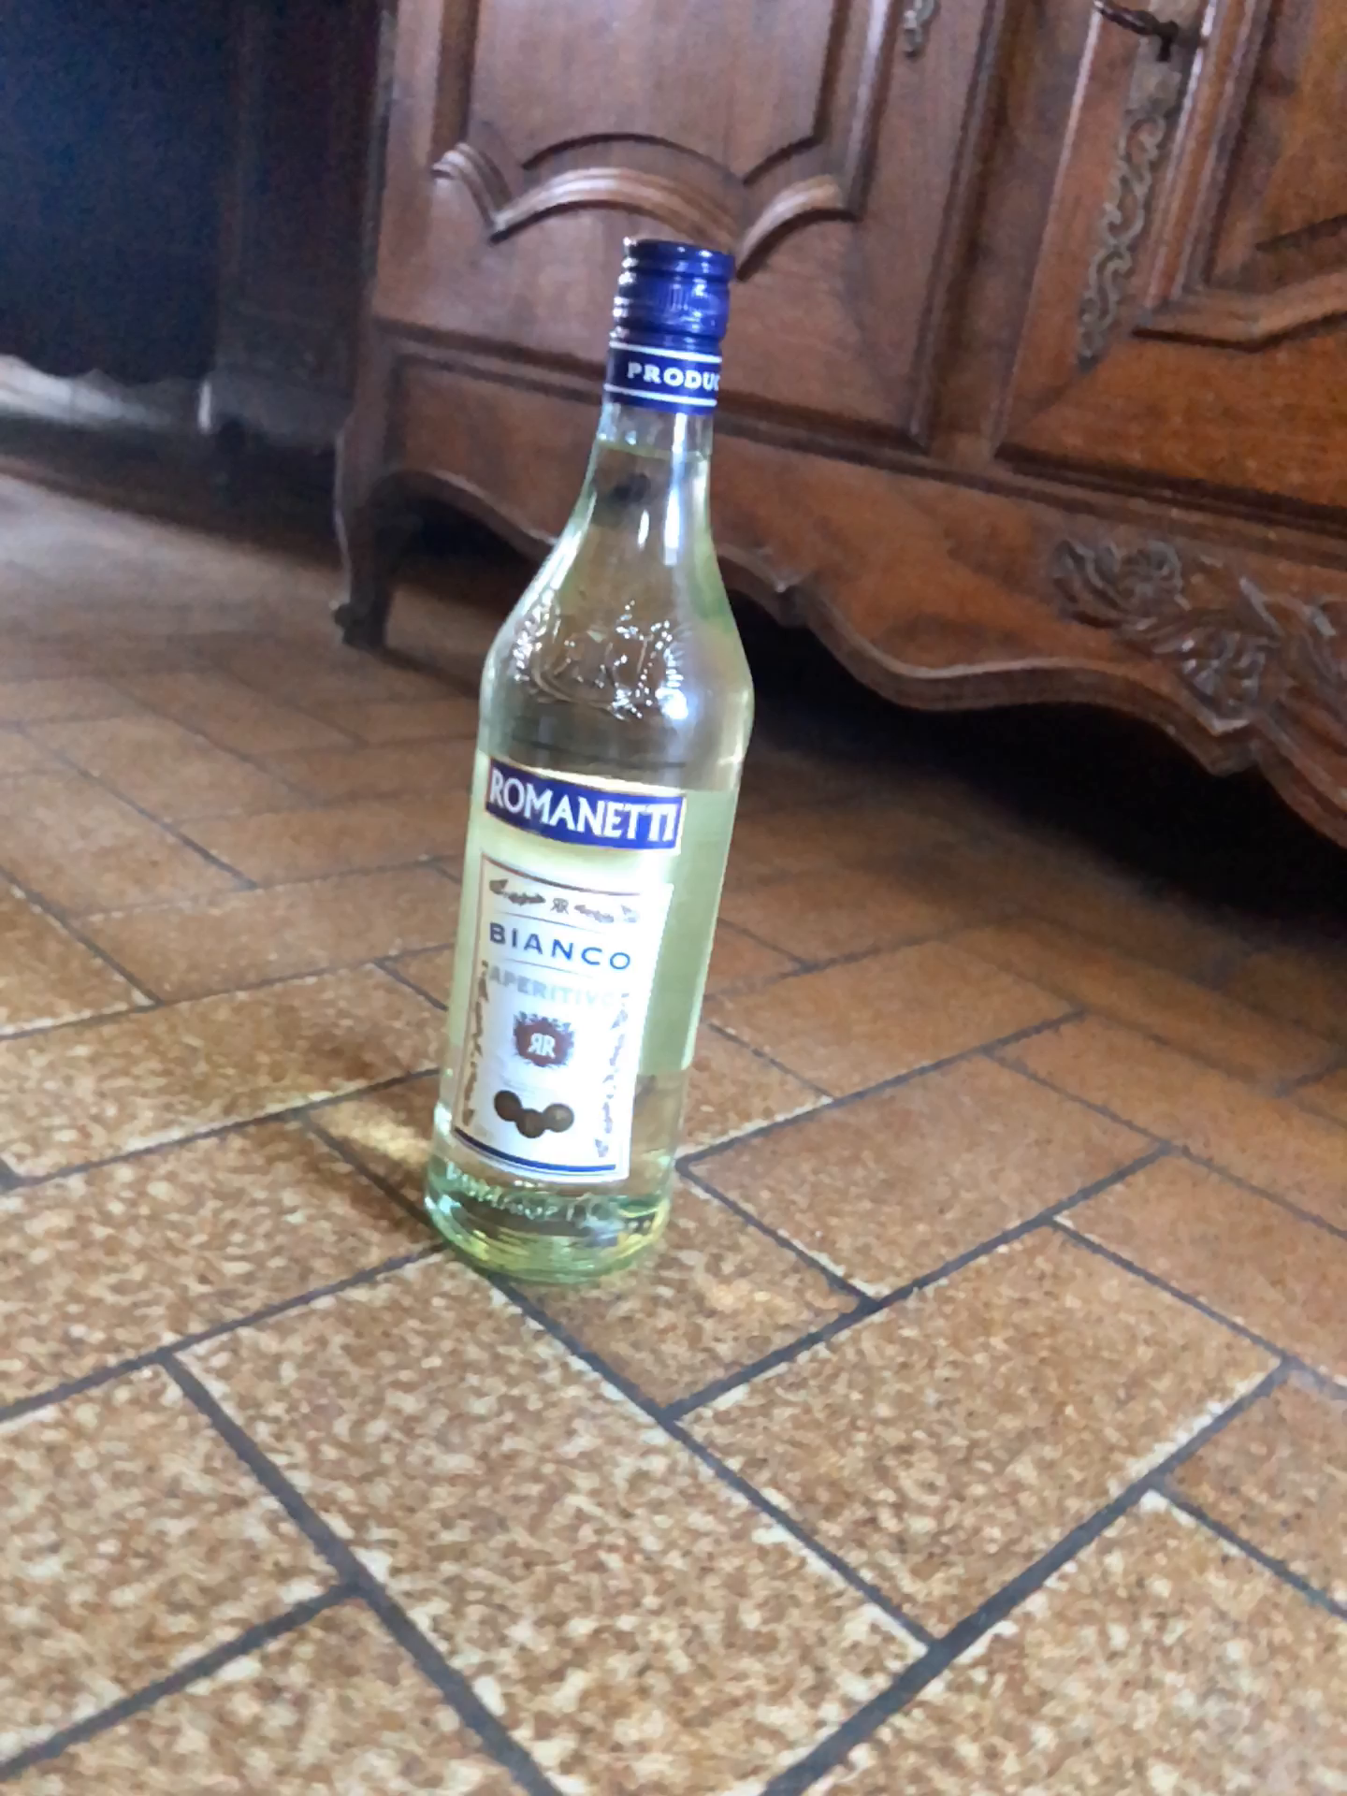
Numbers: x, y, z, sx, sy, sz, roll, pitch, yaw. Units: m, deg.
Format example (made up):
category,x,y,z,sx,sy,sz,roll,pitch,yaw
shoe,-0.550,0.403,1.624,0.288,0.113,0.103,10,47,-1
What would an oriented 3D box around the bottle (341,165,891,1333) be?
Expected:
category,x,y,z,sx,sy,sz,roll,pitch,yaw
bottle,-0.019,-0.038,0.440,0.100,0.299,0.101,8,19,-3
